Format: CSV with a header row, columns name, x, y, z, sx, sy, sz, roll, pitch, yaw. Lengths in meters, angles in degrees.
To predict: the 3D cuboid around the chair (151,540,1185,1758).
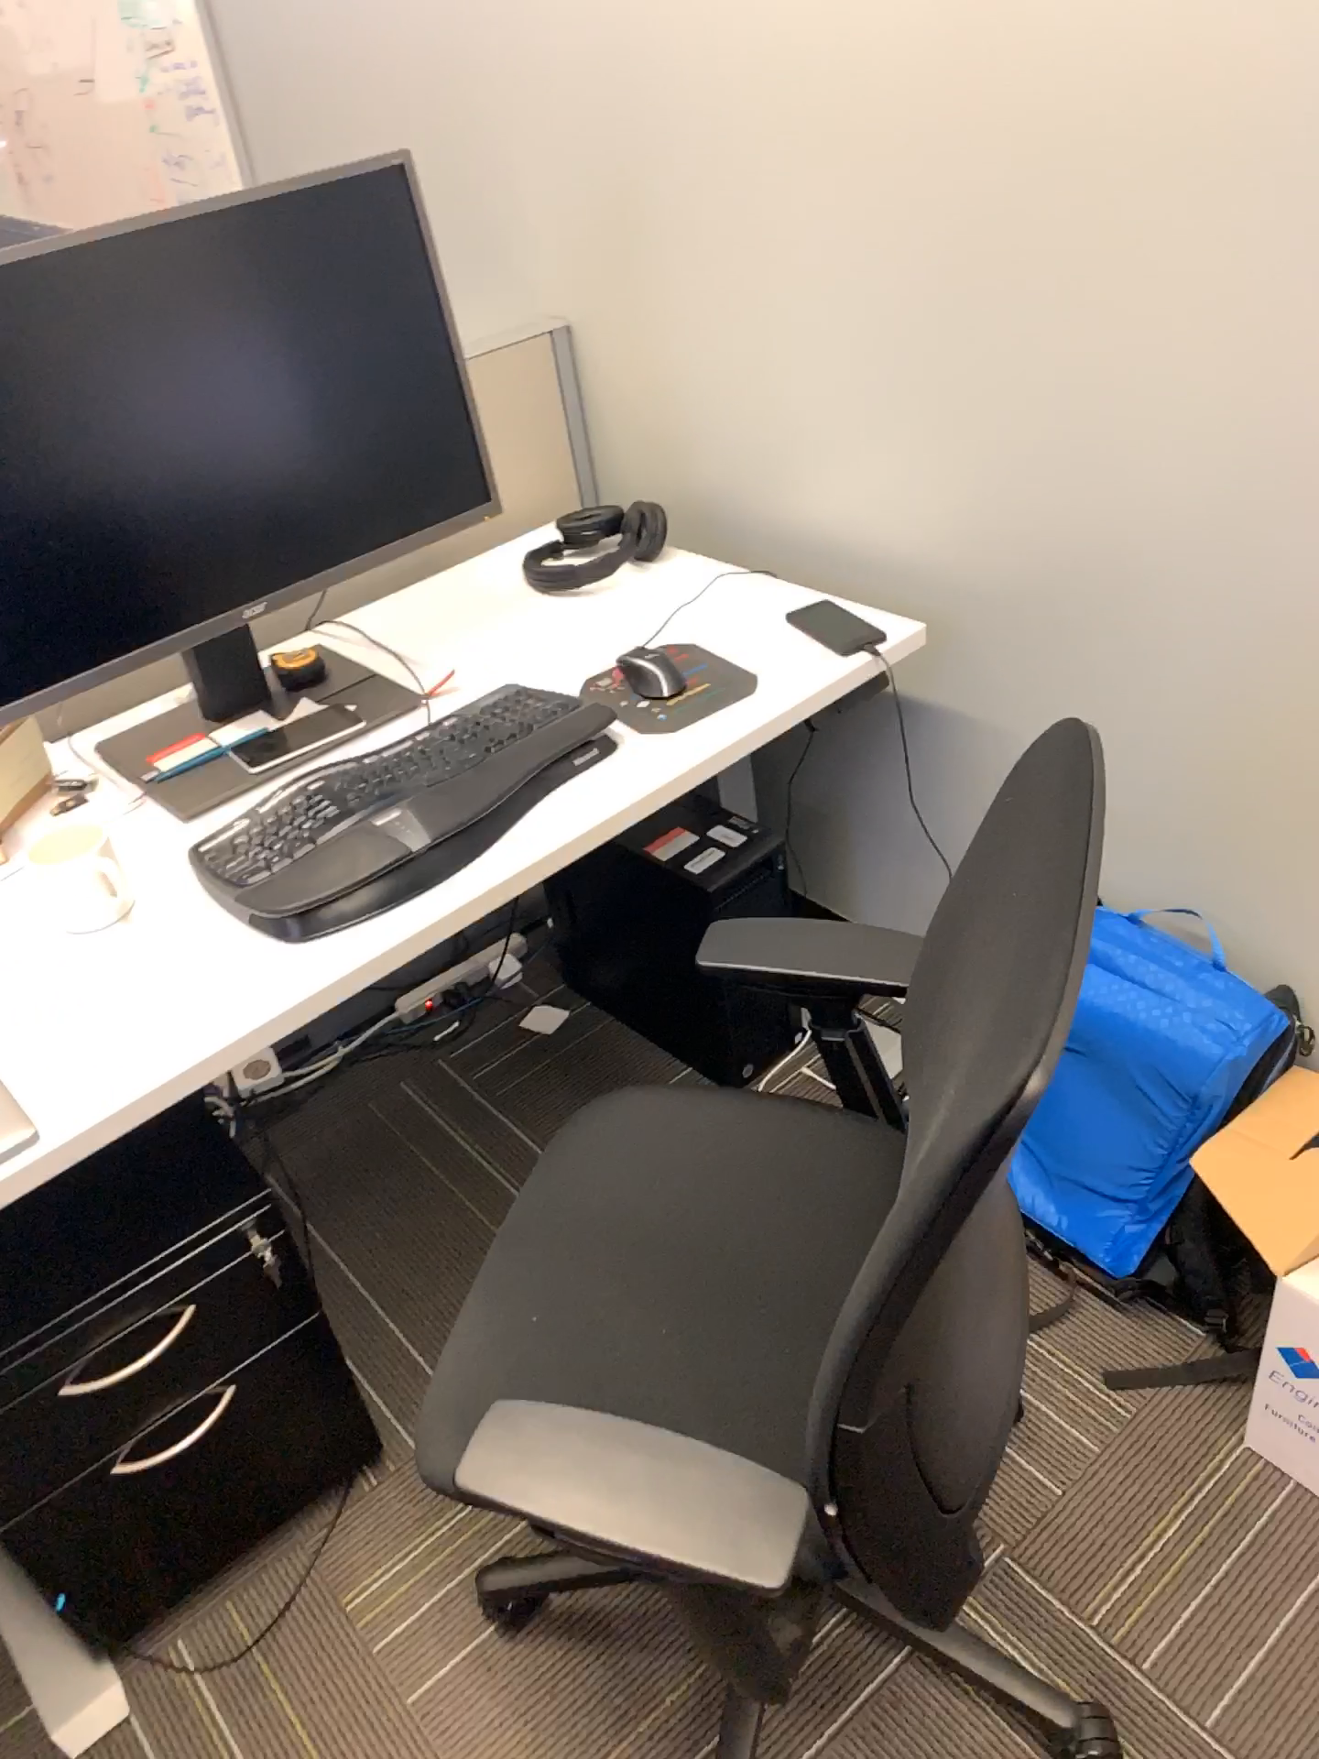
name,x,y,z,sx,sy,sz,roll,pitch,yaw
chair,0.129,0.280,1.360,0.611,0.944,0.834,2,37,15
